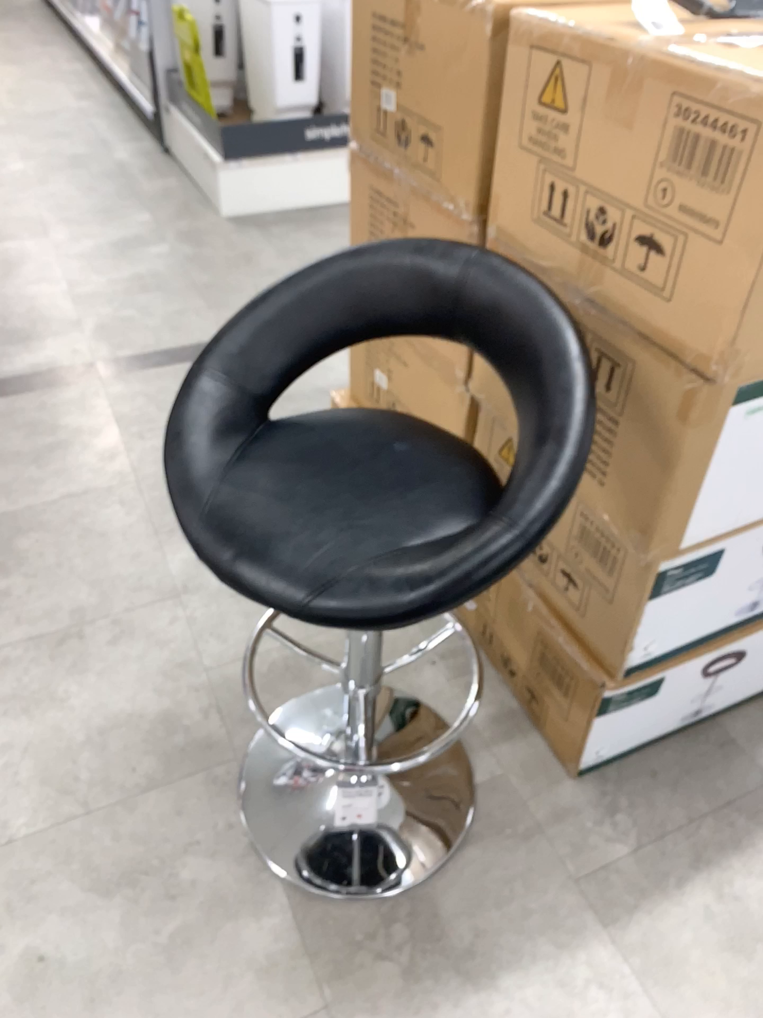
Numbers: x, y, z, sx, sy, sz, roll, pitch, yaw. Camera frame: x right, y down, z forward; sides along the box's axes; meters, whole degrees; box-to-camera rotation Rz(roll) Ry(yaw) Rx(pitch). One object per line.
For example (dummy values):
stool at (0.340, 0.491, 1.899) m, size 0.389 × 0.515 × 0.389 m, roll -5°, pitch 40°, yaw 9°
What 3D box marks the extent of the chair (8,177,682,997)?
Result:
chair at (-0.038, 0.127, 1.117) m, size 0.511 × 0.933 × 0.485 m, roll 27°, pitch 46°, yaw 26°
